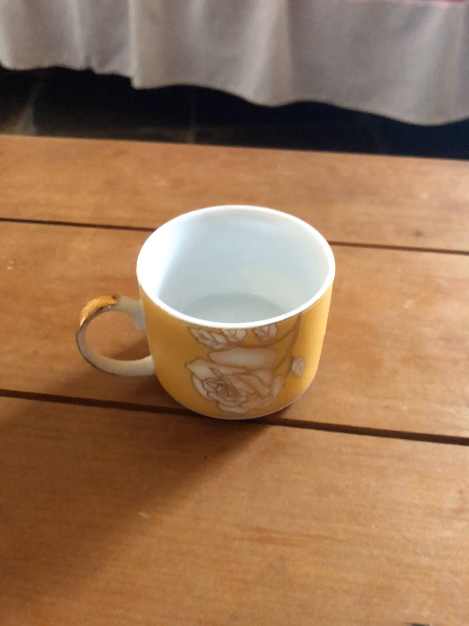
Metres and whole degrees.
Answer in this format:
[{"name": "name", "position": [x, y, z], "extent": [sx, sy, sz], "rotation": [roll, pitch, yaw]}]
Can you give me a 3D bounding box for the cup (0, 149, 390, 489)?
[{"name": "cup", "position": [-0.016, -0.004, 0.163], "extent": [0.090, 0.050, 0.070], "rotation": [-15, 46, -16]}]
